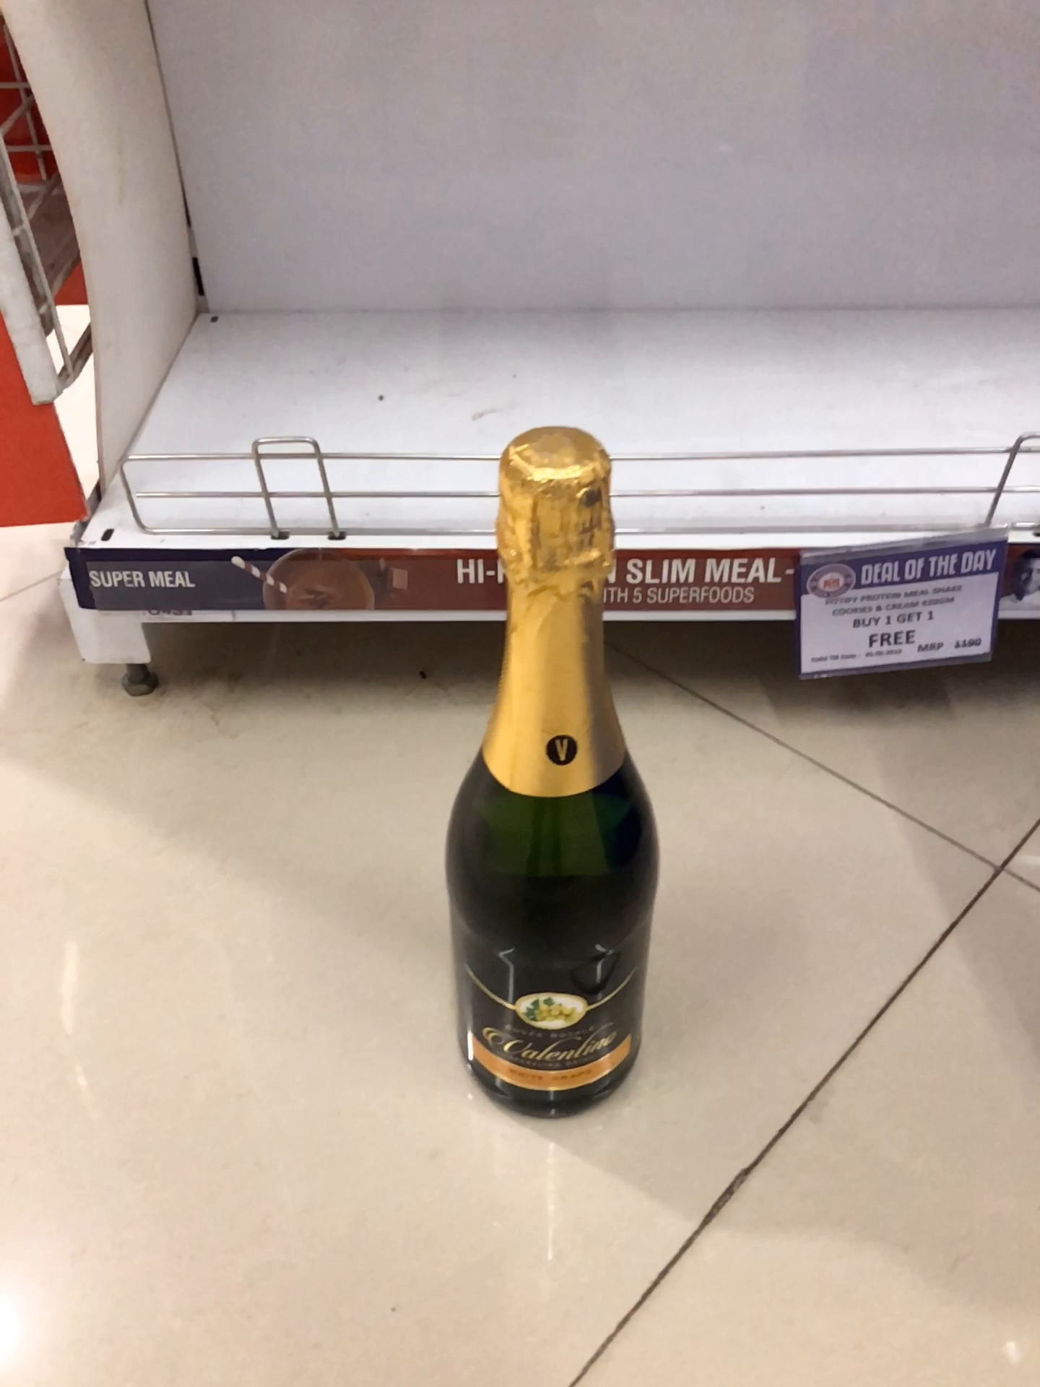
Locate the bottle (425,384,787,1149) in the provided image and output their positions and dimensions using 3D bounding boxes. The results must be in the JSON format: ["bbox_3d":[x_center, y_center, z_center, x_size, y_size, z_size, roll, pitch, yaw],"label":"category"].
[{"bbox_3d":[0.022,0.048,0.417,0.090,0.298,0.091,0,41,0],"label":"bottle"}]
